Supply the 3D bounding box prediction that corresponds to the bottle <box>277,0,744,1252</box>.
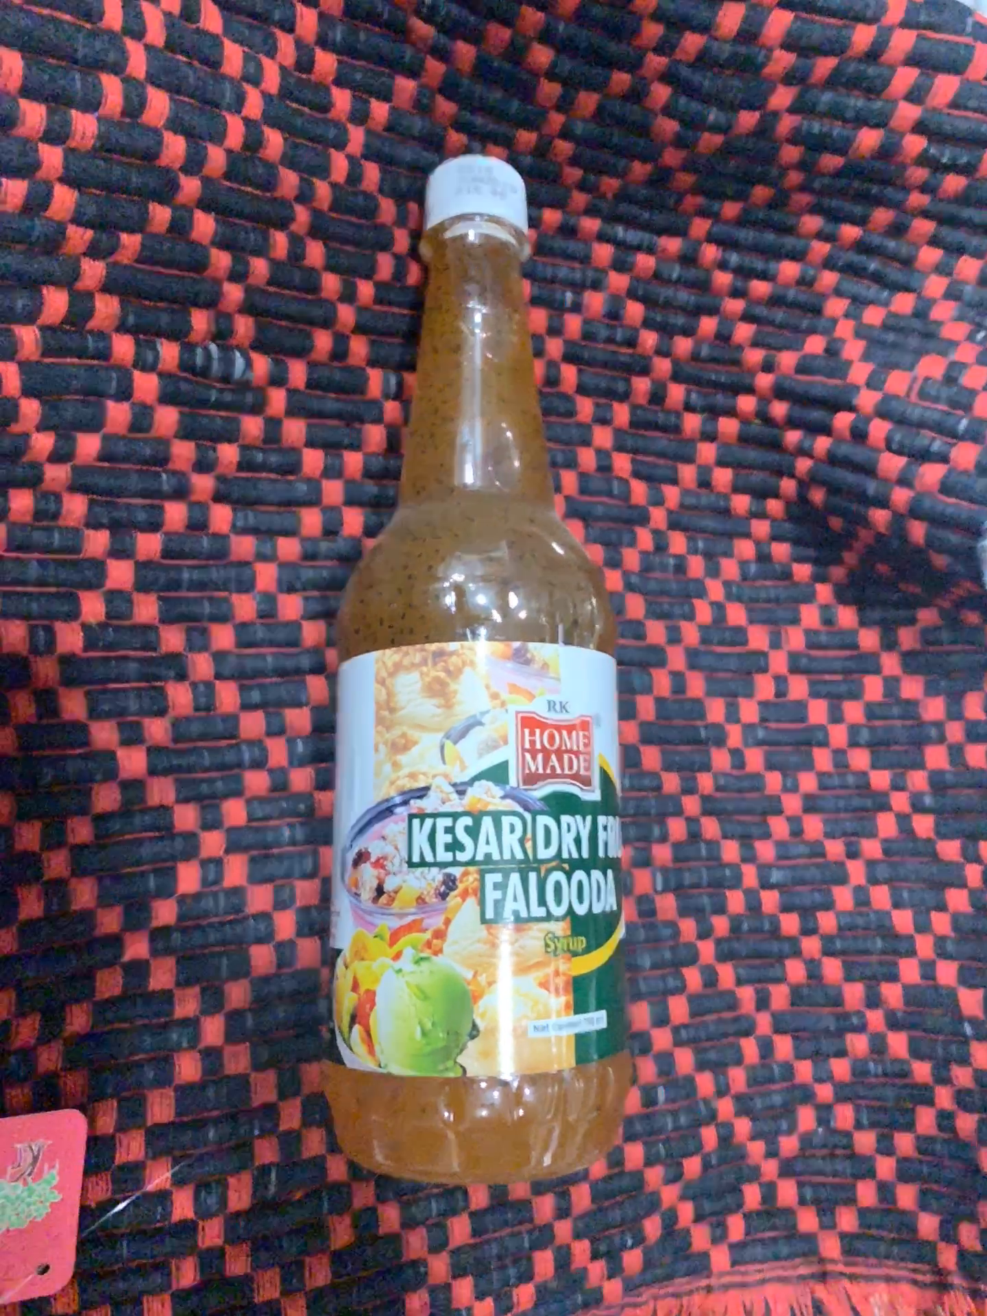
[{"bbox_3d":[0.000,-0.016,0.251,0.080,0.070,0.260,5,79,-26],"label":"bottle"}]
